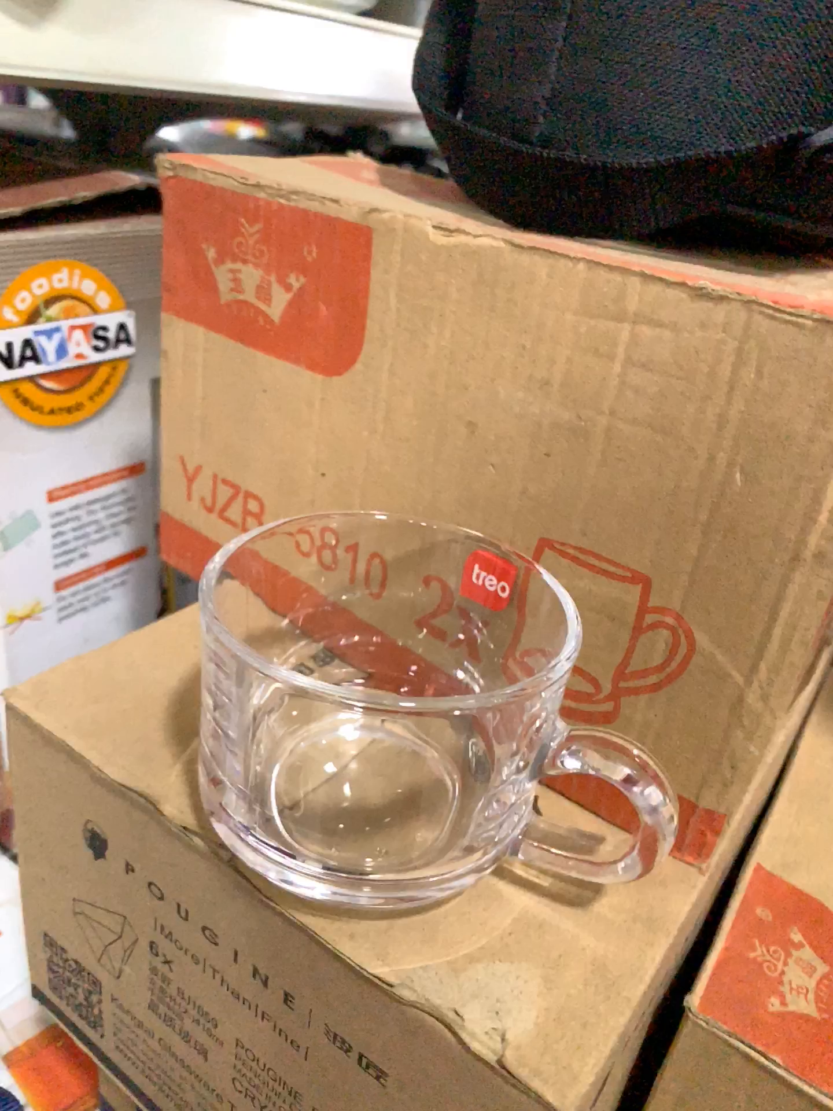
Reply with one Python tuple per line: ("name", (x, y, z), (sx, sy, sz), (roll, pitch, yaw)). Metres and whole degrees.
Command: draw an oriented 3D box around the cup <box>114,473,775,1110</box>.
("cup", (0.003, 0.037, 0.180), (0.105, 0.061, 0.072), (24, 31, 27))
